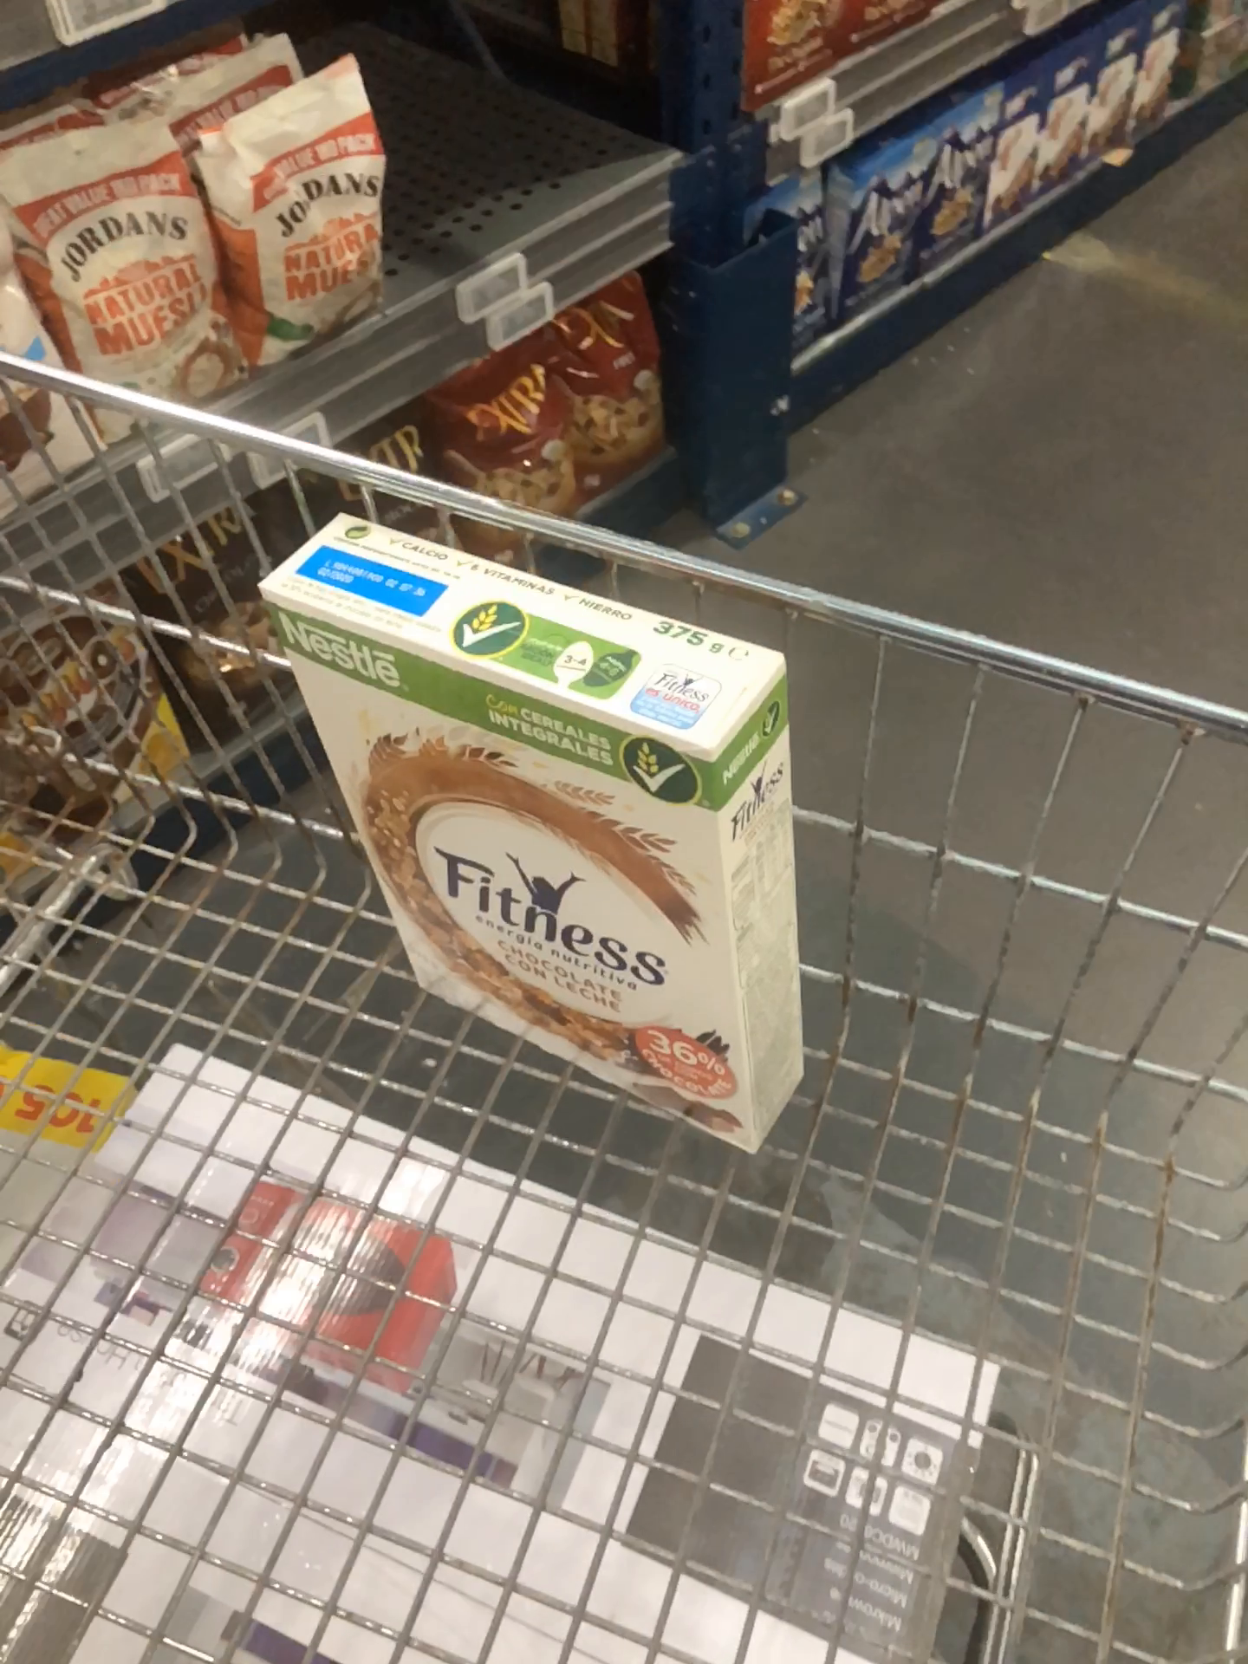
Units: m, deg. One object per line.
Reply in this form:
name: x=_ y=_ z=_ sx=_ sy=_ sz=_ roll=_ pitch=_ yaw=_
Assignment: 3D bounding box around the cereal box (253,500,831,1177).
cereal box: x=-0.019 y=0.012 z=0.568 sx=0.200 sy=0.259 sz=0.060 roll=22 pitch=55 yaw=25
